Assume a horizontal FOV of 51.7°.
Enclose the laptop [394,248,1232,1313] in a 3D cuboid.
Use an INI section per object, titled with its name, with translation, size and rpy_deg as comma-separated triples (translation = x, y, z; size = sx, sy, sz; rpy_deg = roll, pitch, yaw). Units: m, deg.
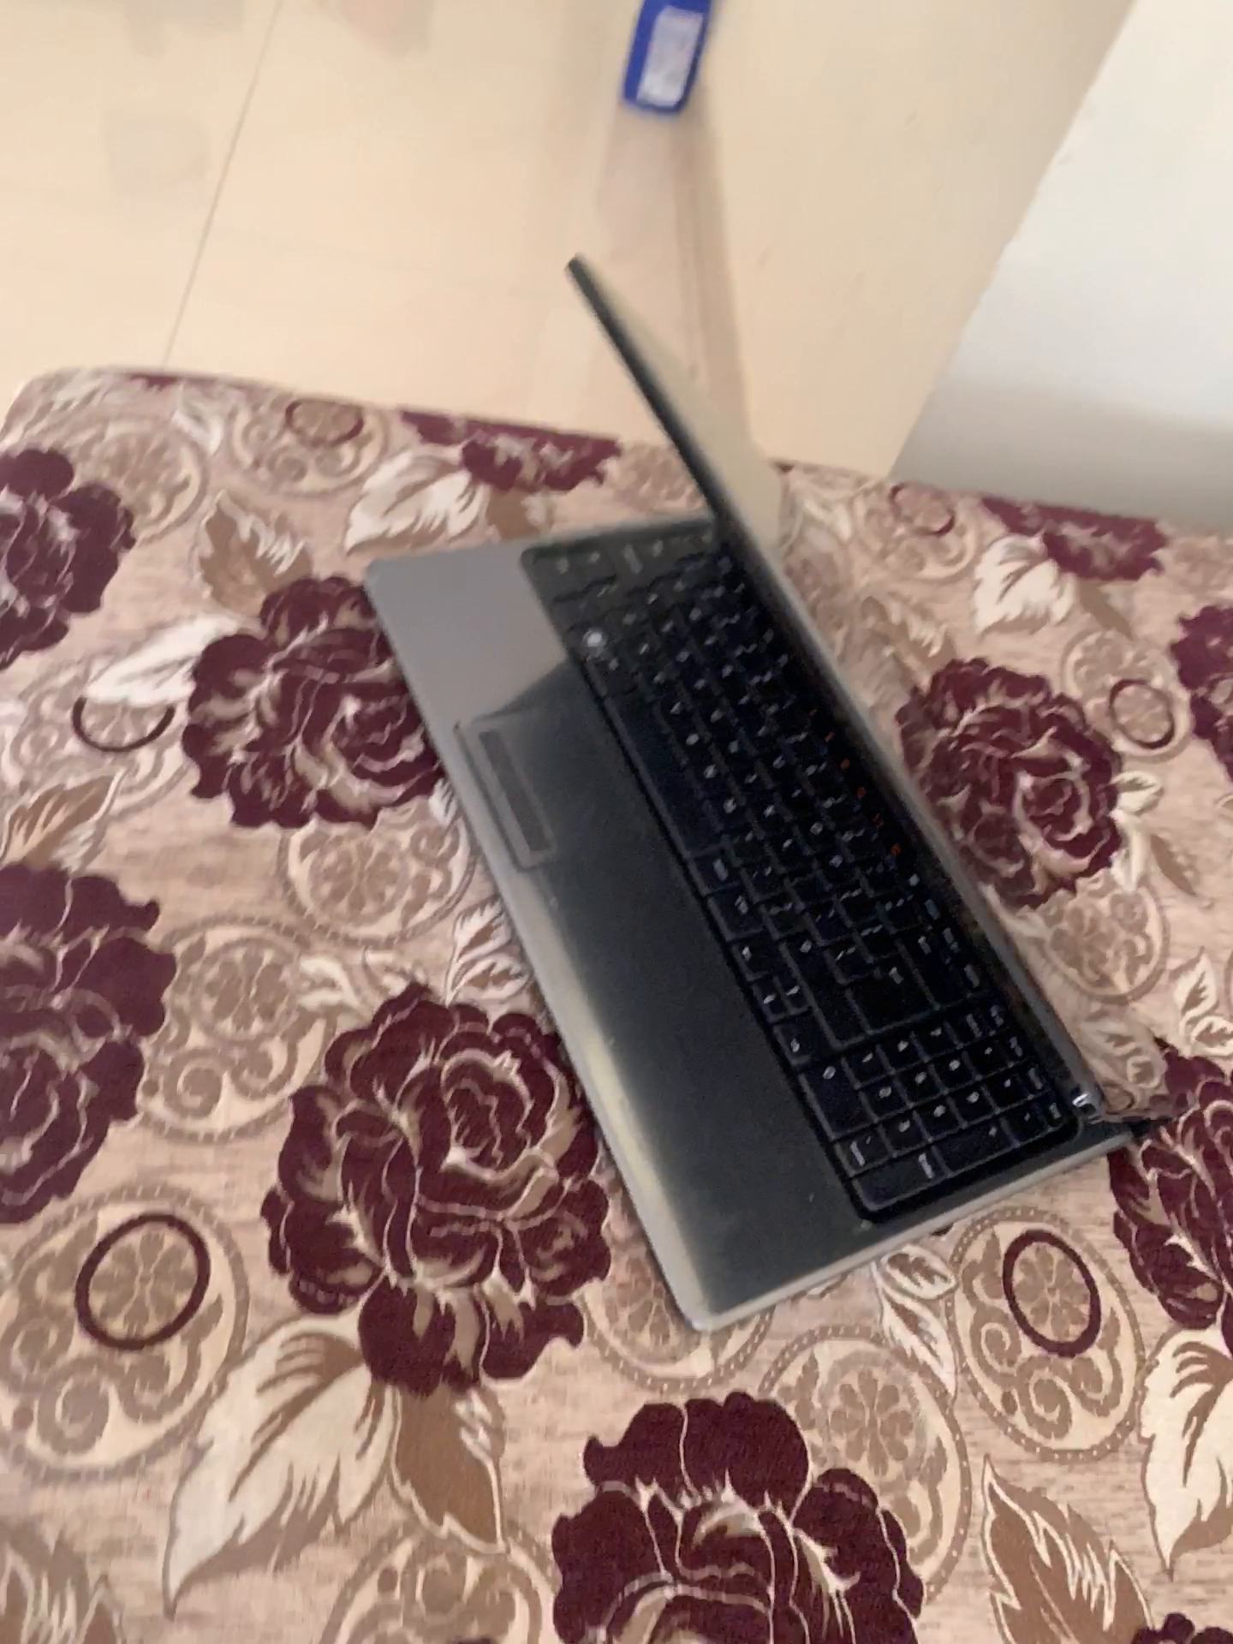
[laptop]
translation = 0.080, -0.044, 0.511
size = 0.221, 0.154, 0.365
rpy_deg = -14, 61, -24
